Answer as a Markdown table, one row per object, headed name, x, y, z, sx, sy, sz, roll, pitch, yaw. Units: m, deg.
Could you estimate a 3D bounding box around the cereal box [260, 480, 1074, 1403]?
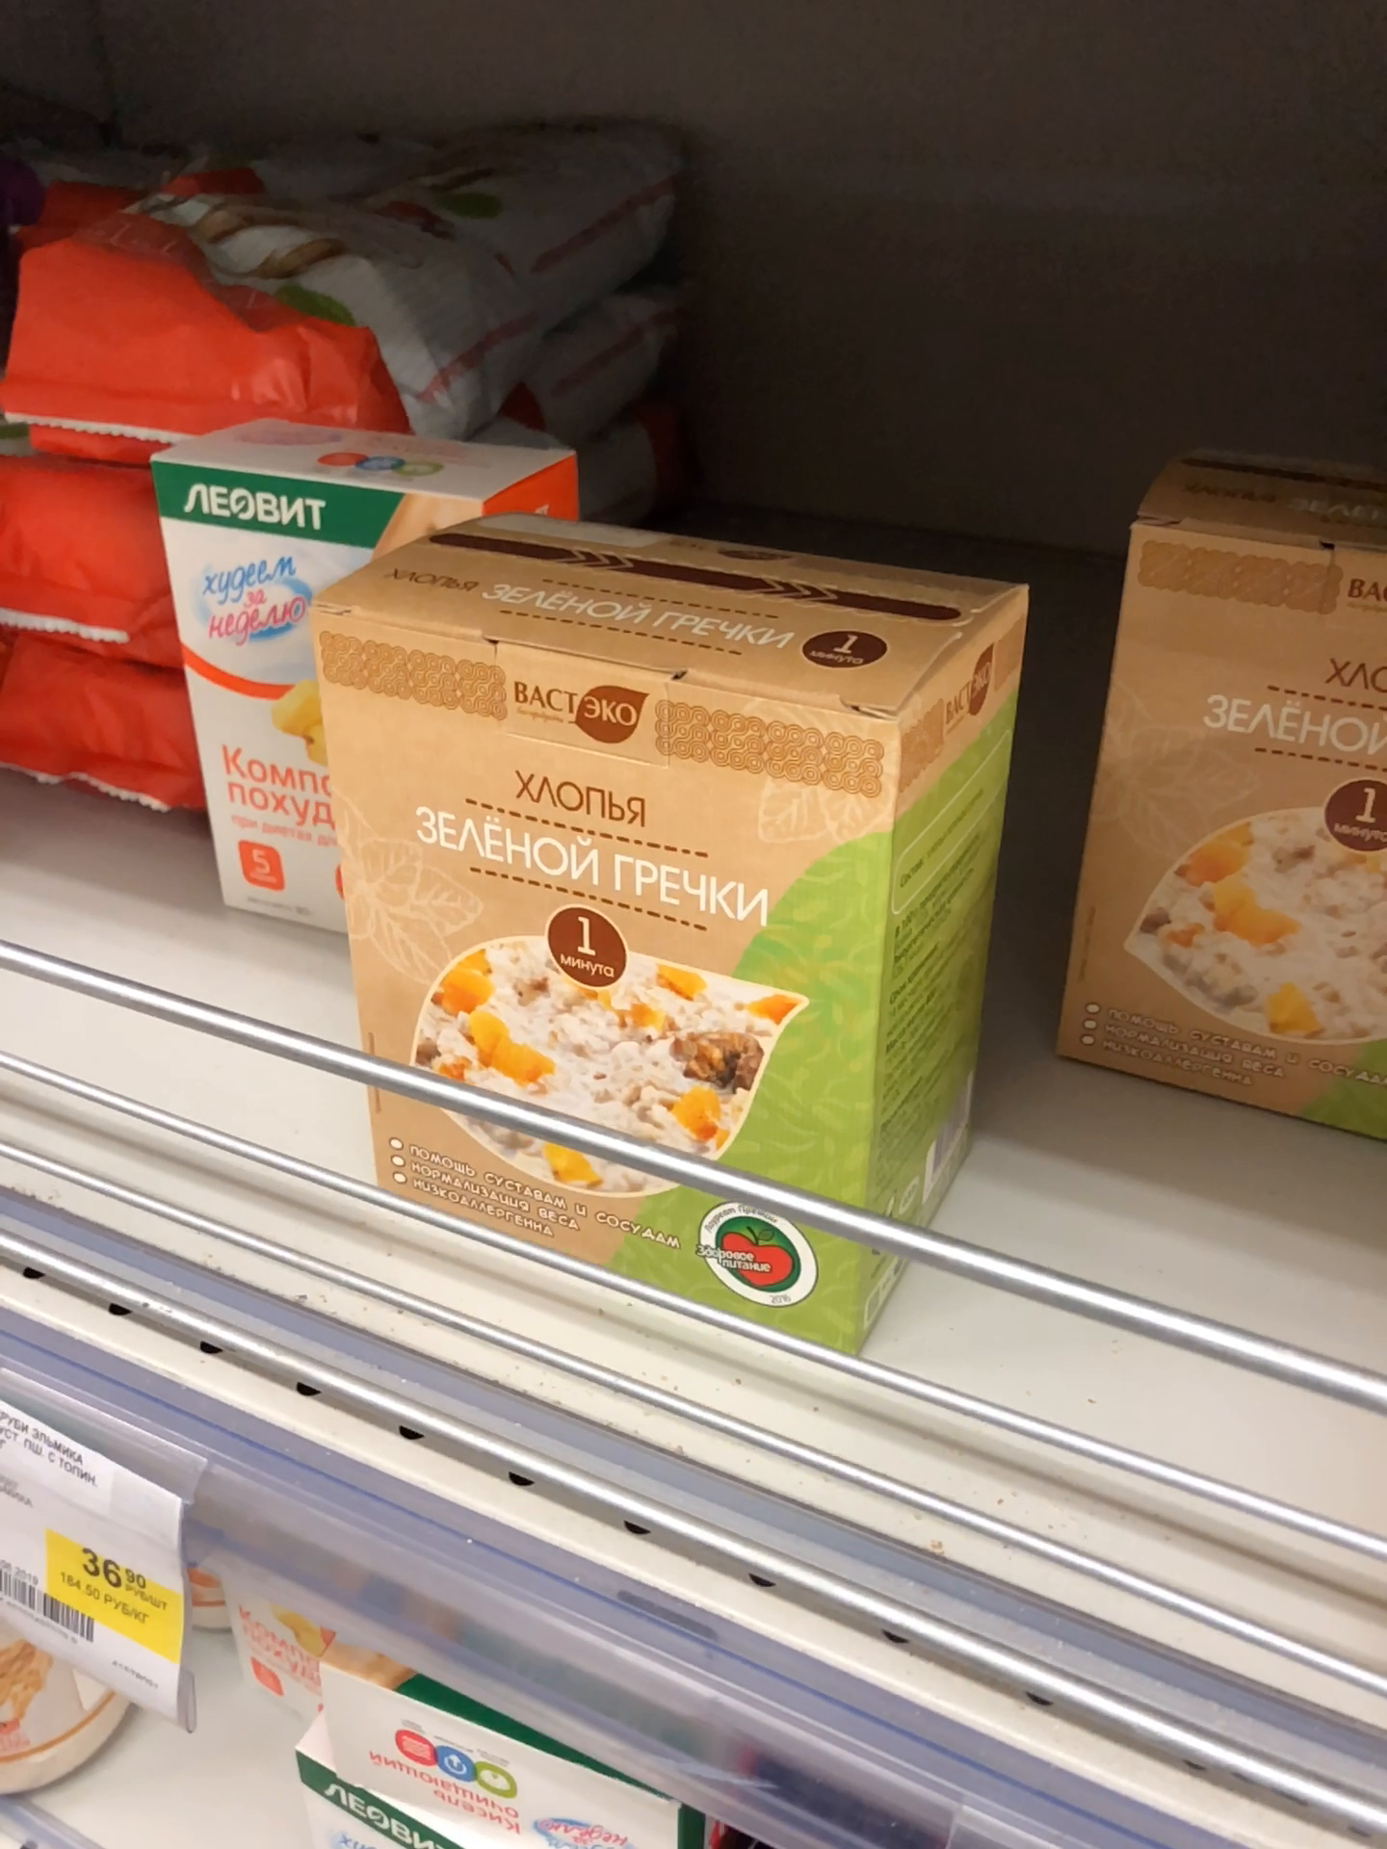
| name | x | y | z | sx | sy | sz | roll | pitch | yaw |
| --- | --- | --- | --- | --- | --- | --- | --- | --- | --- |
| cereal box | -0.003 | -0.003 | 0.335 | 0.130 | 0.149 | 0.090 | 15 | 34 | 23 |
